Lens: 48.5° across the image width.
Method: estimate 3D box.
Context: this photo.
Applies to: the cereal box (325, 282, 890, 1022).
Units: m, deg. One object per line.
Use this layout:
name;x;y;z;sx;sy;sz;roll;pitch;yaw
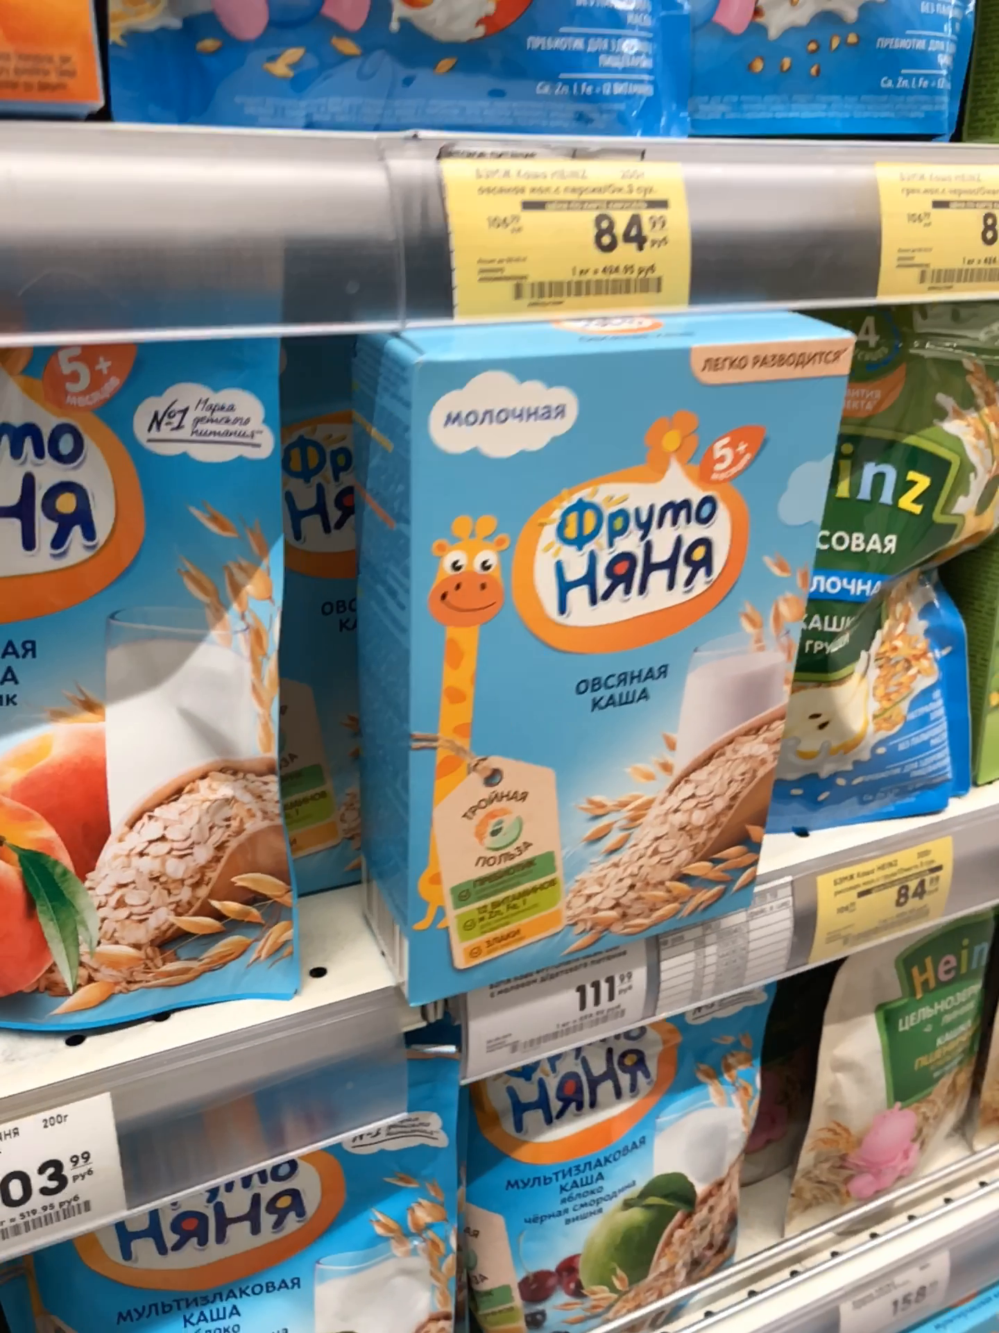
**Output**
cereal box;0.026;-0.005;0.332;0.140;0.199;0.050;-10;30;-24
